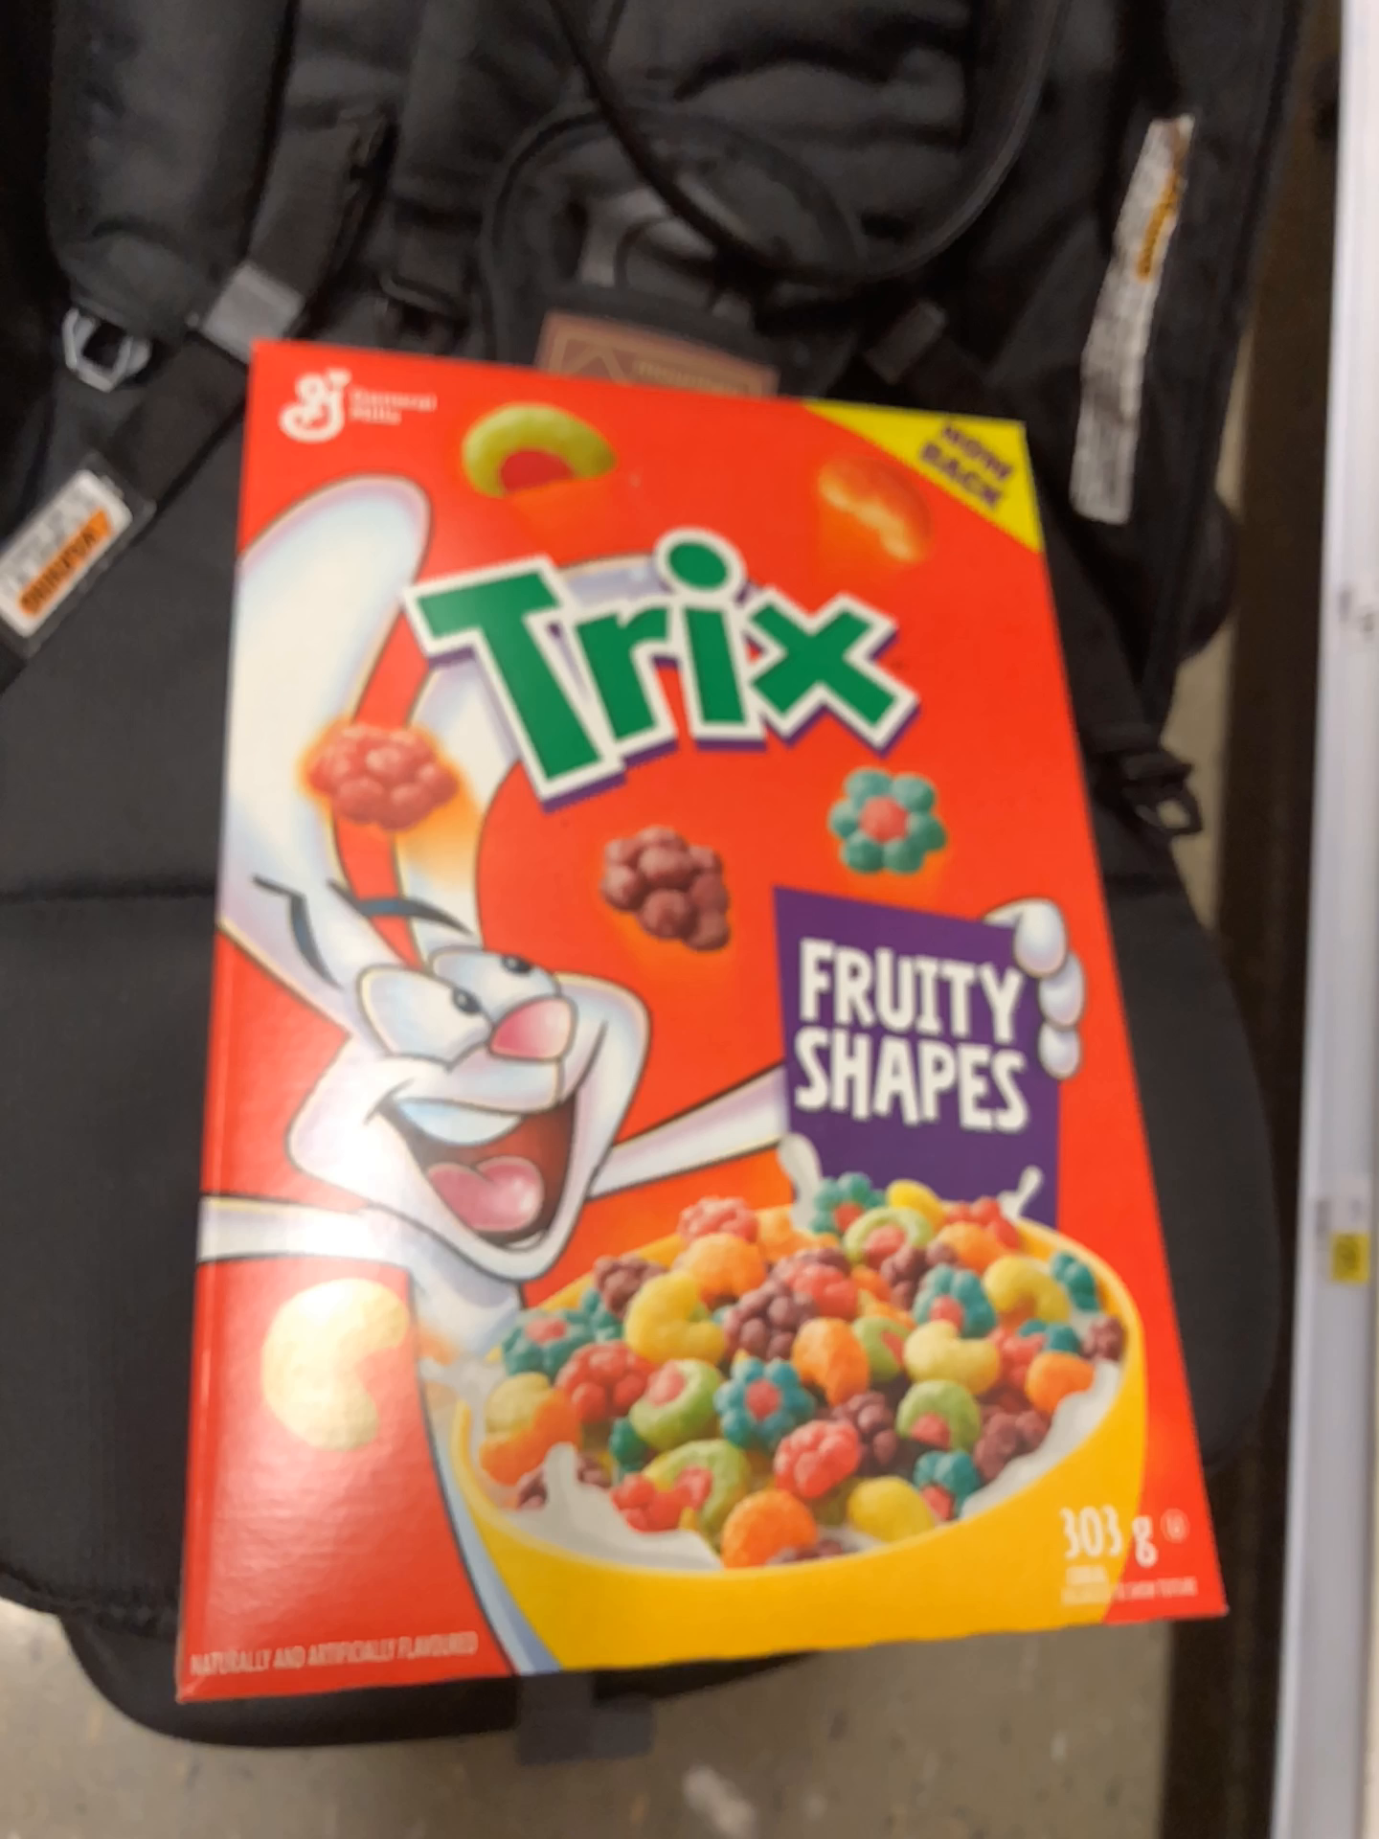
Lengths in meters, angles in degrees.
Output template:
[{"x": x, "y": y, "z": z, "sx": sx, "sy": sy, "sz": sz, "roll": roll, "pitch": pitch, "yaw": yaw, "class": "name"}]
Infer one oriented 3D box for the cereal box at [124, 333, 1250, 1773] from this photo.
[{"x": -0.007, "y": 0.016, "z": 0.345, "sx": 0.200, "sy": 0.060, "sz": 0.280, "roll": 2, "pitch": 69, "yaw": -14, "class": "cereal box"}]
